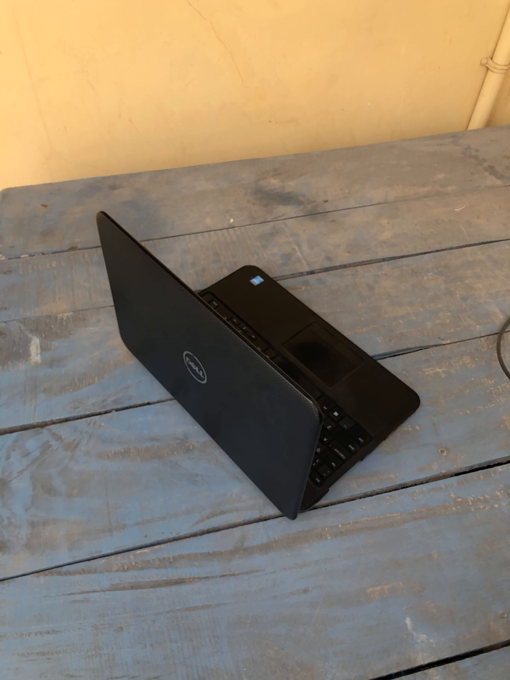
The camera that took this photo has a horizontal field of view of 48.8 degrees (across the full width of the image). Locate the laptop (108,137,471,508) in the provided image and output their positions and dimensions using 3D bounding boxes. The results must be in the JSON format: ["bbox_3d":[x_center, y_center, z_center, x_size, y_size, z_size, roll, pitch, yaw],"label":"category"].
[{"bbox_3d":[0.025,-0.032,0.709,0.225,0.234,0.341,-34,59,-24],"label":"laptop"}]
